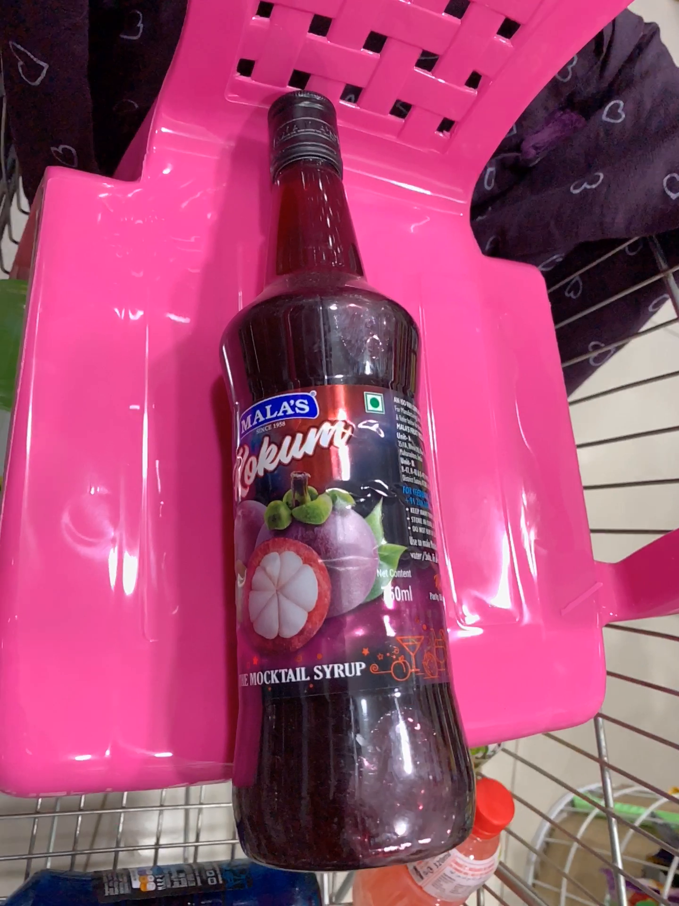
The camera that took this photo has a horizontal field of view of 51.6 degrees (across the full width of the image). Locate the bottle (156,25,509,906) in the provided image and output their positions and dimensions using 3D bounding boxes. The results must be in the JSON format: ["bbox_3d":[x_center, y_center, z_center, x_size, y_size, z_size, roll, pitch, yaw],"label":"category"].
[{"bbox_3d":[-0.005,-0.002,0.256,0.080,0.080,0.260,16,67,-50],"label":"bottle"}]
